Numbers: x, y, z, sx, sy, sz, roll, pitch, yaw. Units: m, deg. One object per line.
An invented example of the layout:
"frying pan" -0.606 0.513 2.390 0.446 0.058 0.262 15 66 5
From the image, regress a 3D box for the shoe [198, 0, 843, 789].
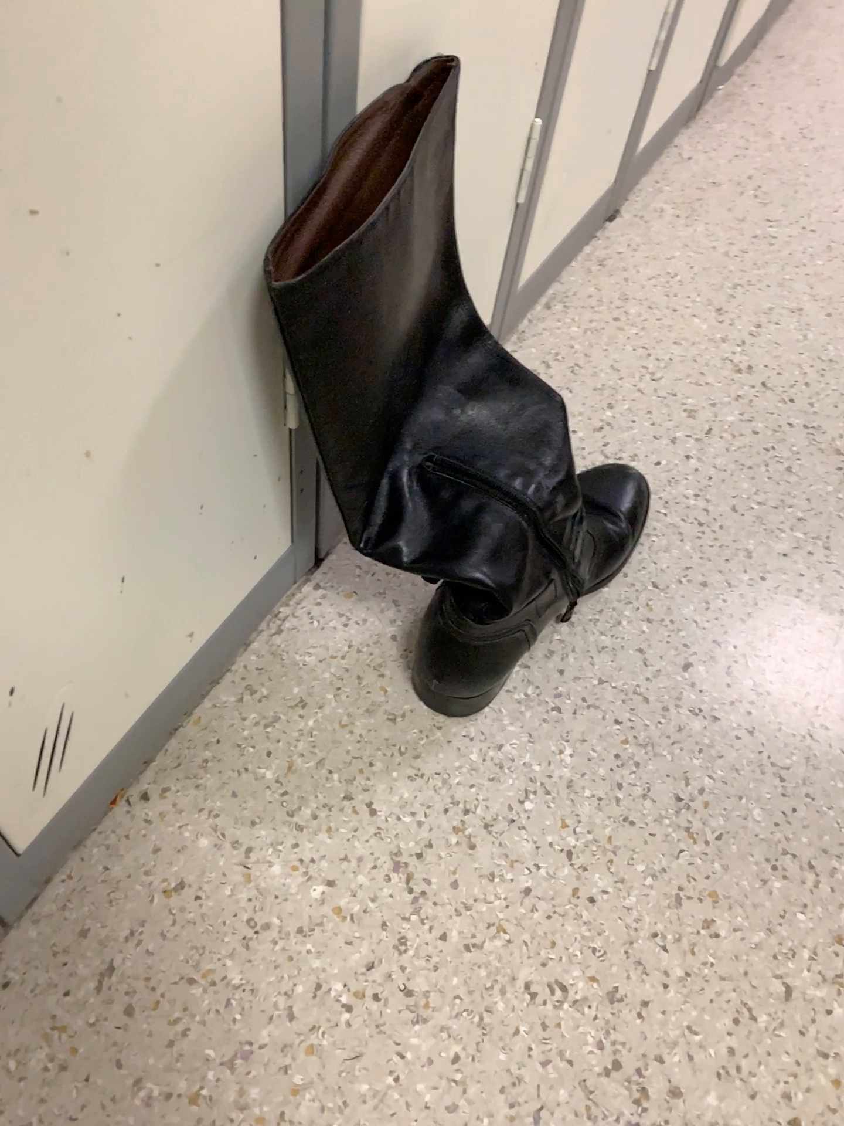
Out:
"shoe" 0.067 -0.101 0.502 0.168 0.331 0.315 34 57 19
